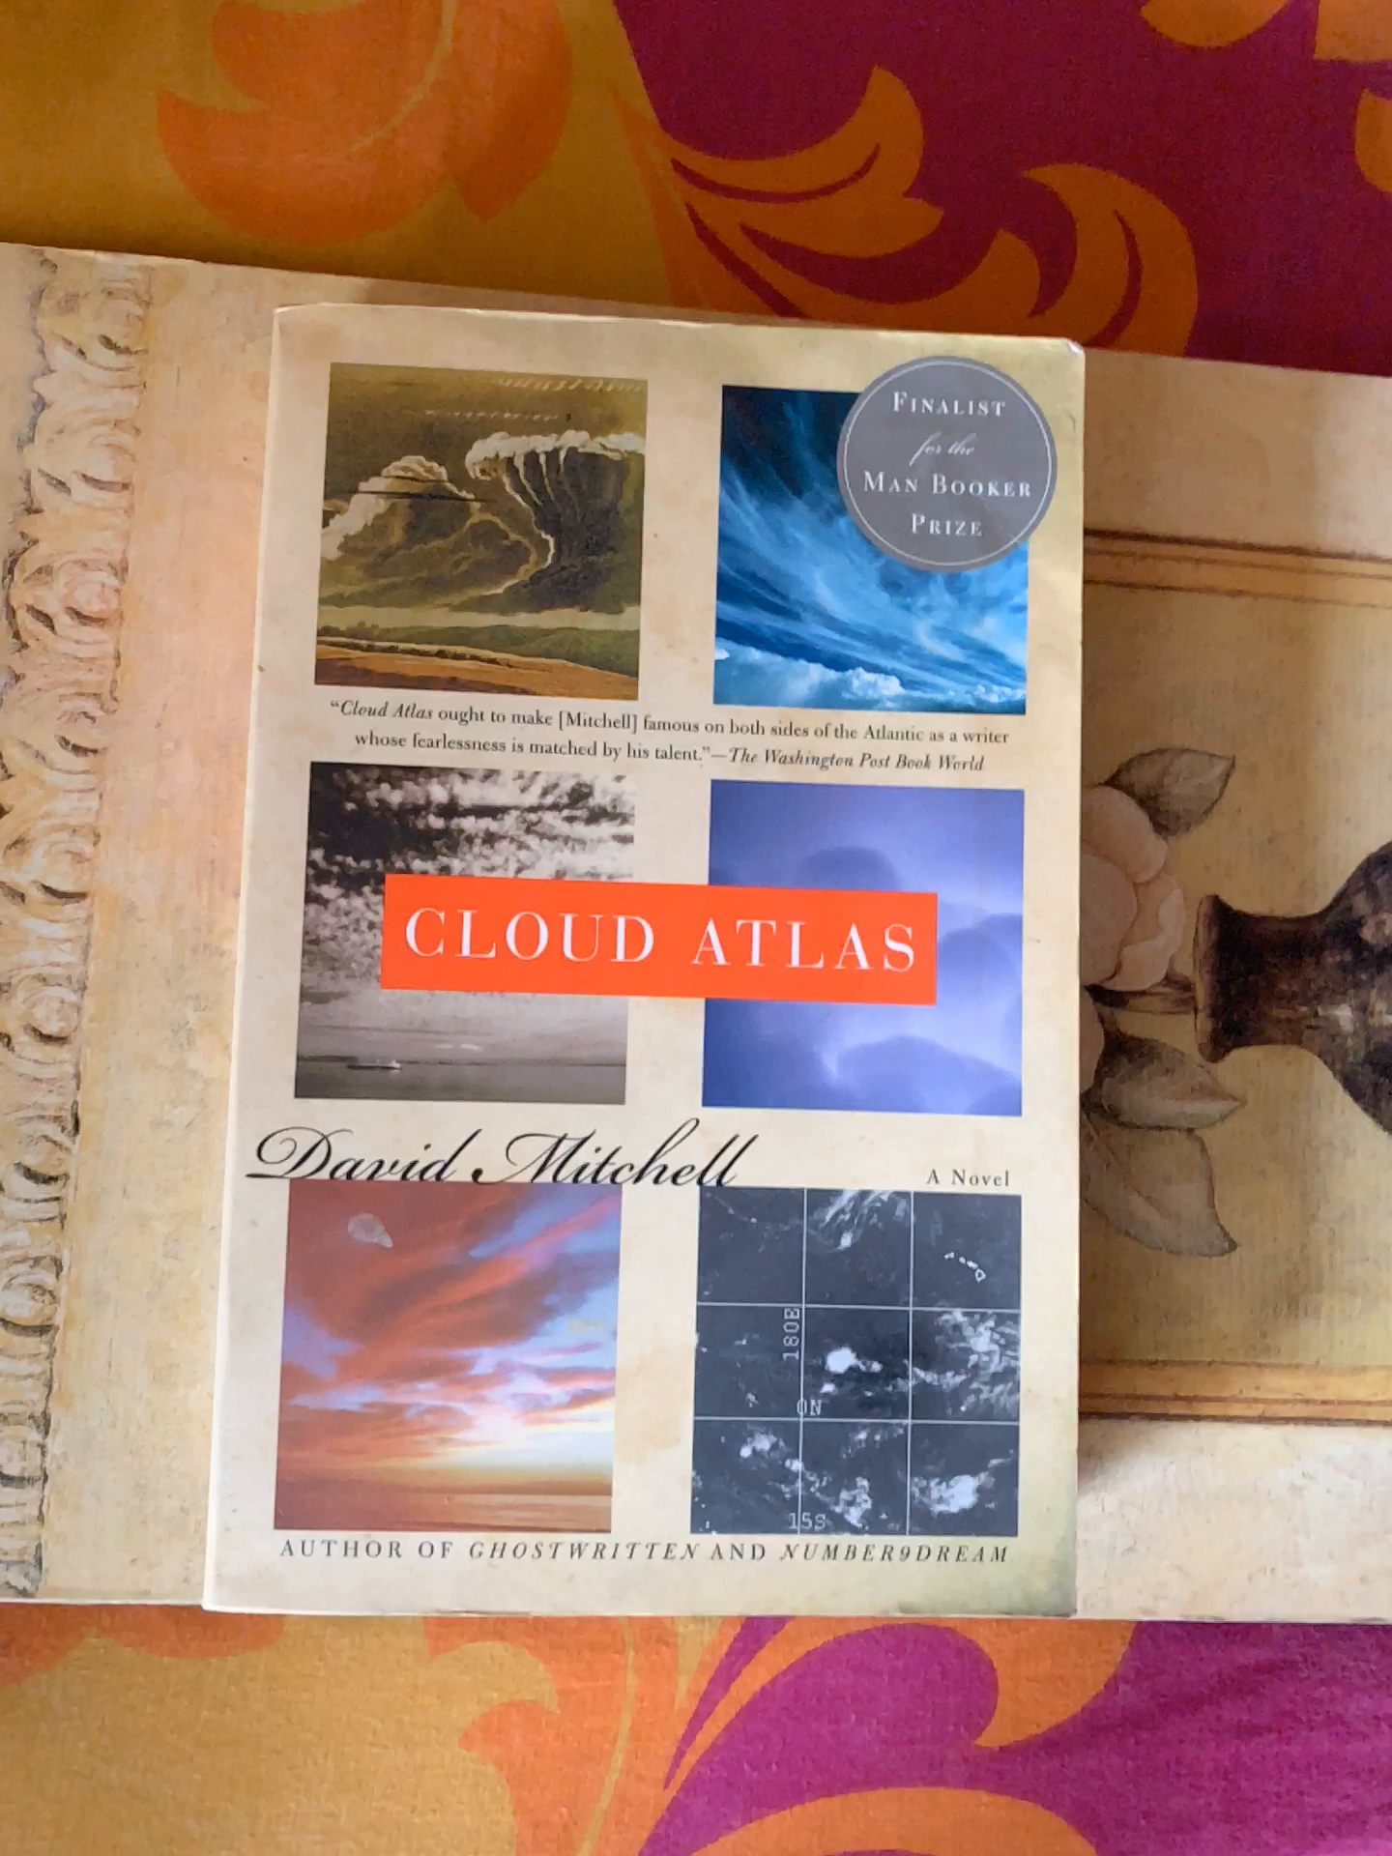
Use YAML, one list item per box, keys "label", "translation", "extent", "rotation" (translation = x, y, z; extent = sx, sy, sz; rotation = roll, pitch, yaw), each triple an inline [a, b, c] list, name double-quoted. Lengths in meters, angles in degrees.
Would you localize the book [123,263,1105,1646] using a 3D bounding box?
- label: "book"
  translation: [-0.009, 0.002, 0.224]
  extent: [0.130, 0.040, 0.190]
  rotation: [2, 85, -1]
